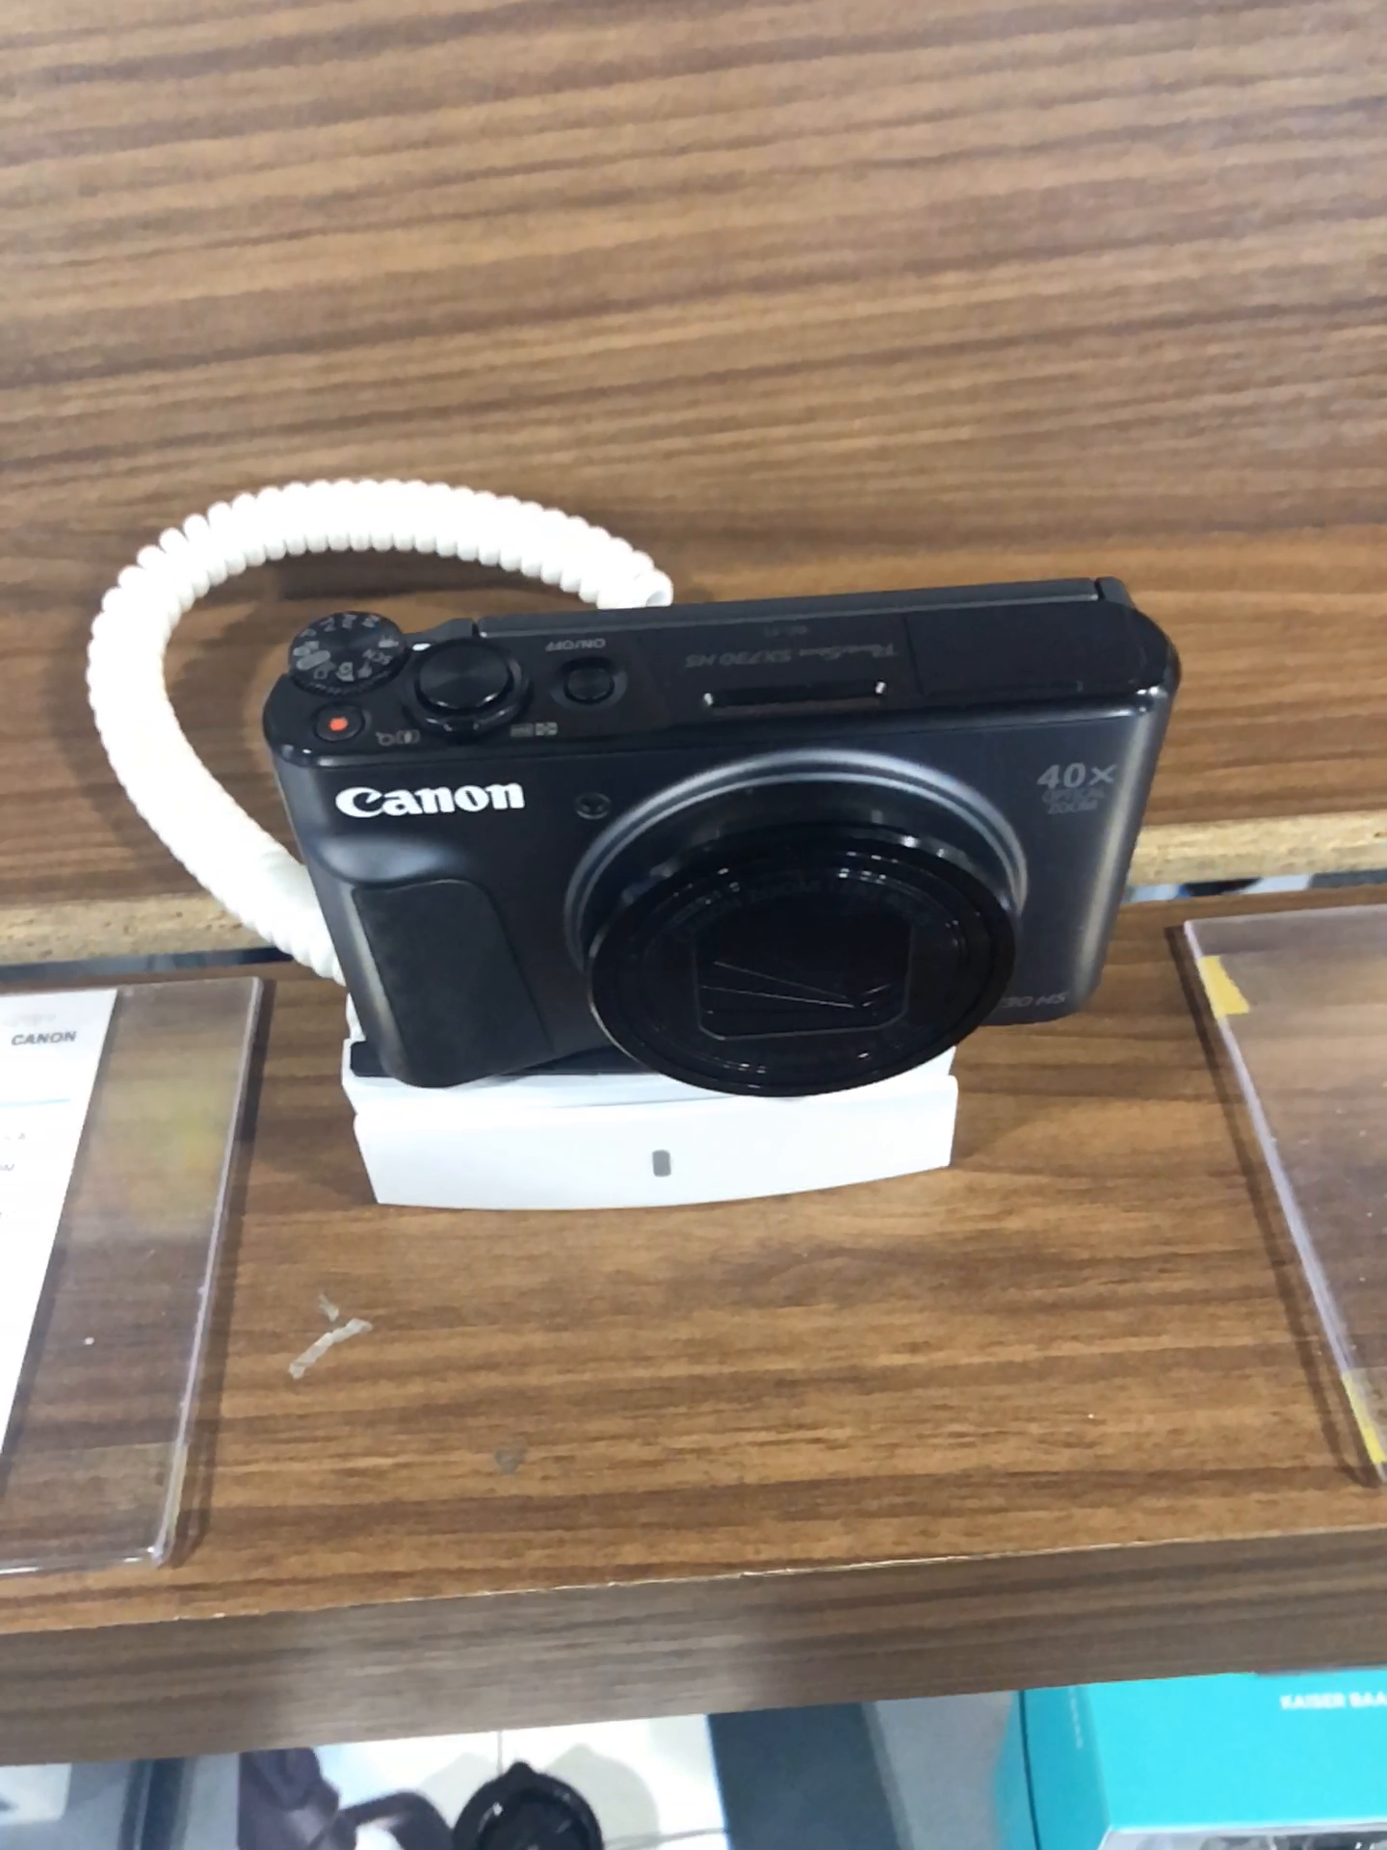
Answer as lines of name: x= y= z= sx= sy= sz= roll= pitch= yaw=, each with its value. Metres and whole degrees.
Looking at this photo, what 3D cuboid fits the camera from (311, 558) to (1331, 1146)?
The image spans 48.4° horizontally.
camera: x=0.014 y=-0.007 z=0.201 sx=0.109 sy=0.063 sz=0.037 roll=-4 pitch=50 yaw=-1
